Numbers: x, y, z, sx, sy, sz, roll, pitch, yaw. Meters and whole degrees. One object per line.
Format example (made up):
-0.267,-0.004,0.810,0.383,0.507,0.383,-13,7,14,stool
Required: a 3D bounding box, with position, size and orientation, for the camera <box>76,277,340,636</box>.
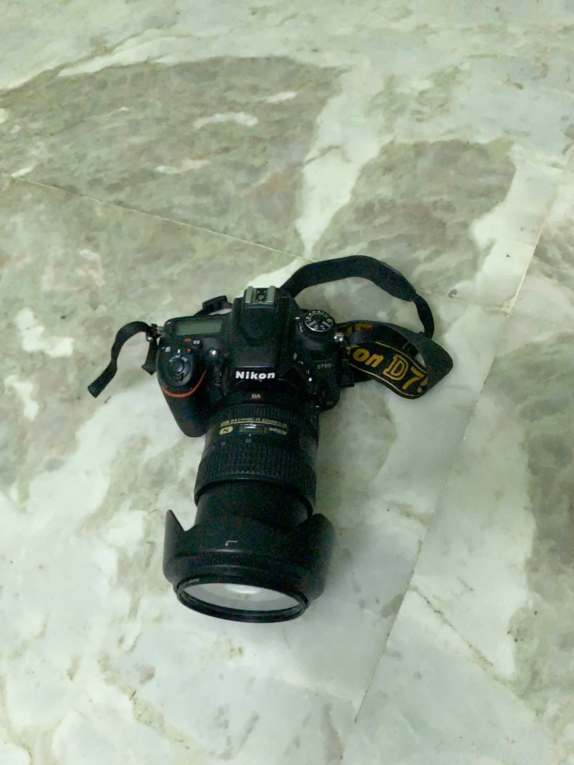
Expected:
-0.033,0.043,0.384,0.130,0.090,0.210,-2,57,7,camera
